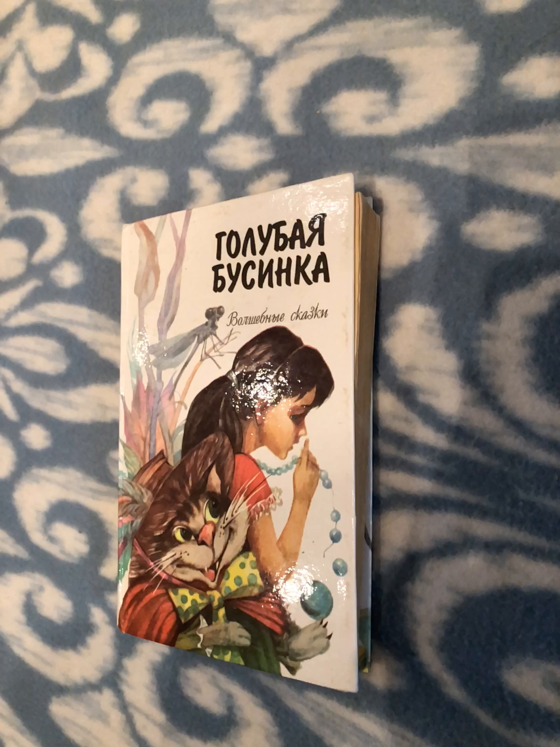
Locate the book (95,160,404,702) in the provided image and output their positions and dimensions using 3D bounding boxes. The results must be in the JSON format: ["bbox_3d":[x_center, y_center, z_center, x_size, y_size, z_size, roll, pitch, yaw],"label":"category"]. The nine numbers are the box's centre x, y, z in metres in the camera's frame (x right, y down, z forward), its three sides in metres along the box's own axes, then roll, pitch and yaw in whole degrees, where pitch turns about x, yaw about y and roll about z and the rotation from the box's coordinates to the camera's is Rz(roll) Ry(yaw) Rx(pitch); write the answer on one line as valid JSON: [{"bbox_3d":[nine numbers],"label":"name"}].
[{"bbox_3d":[-0.020,0.023,0.293,0.145,0.040,0.206,-3,85,32],"label":"book"}]
